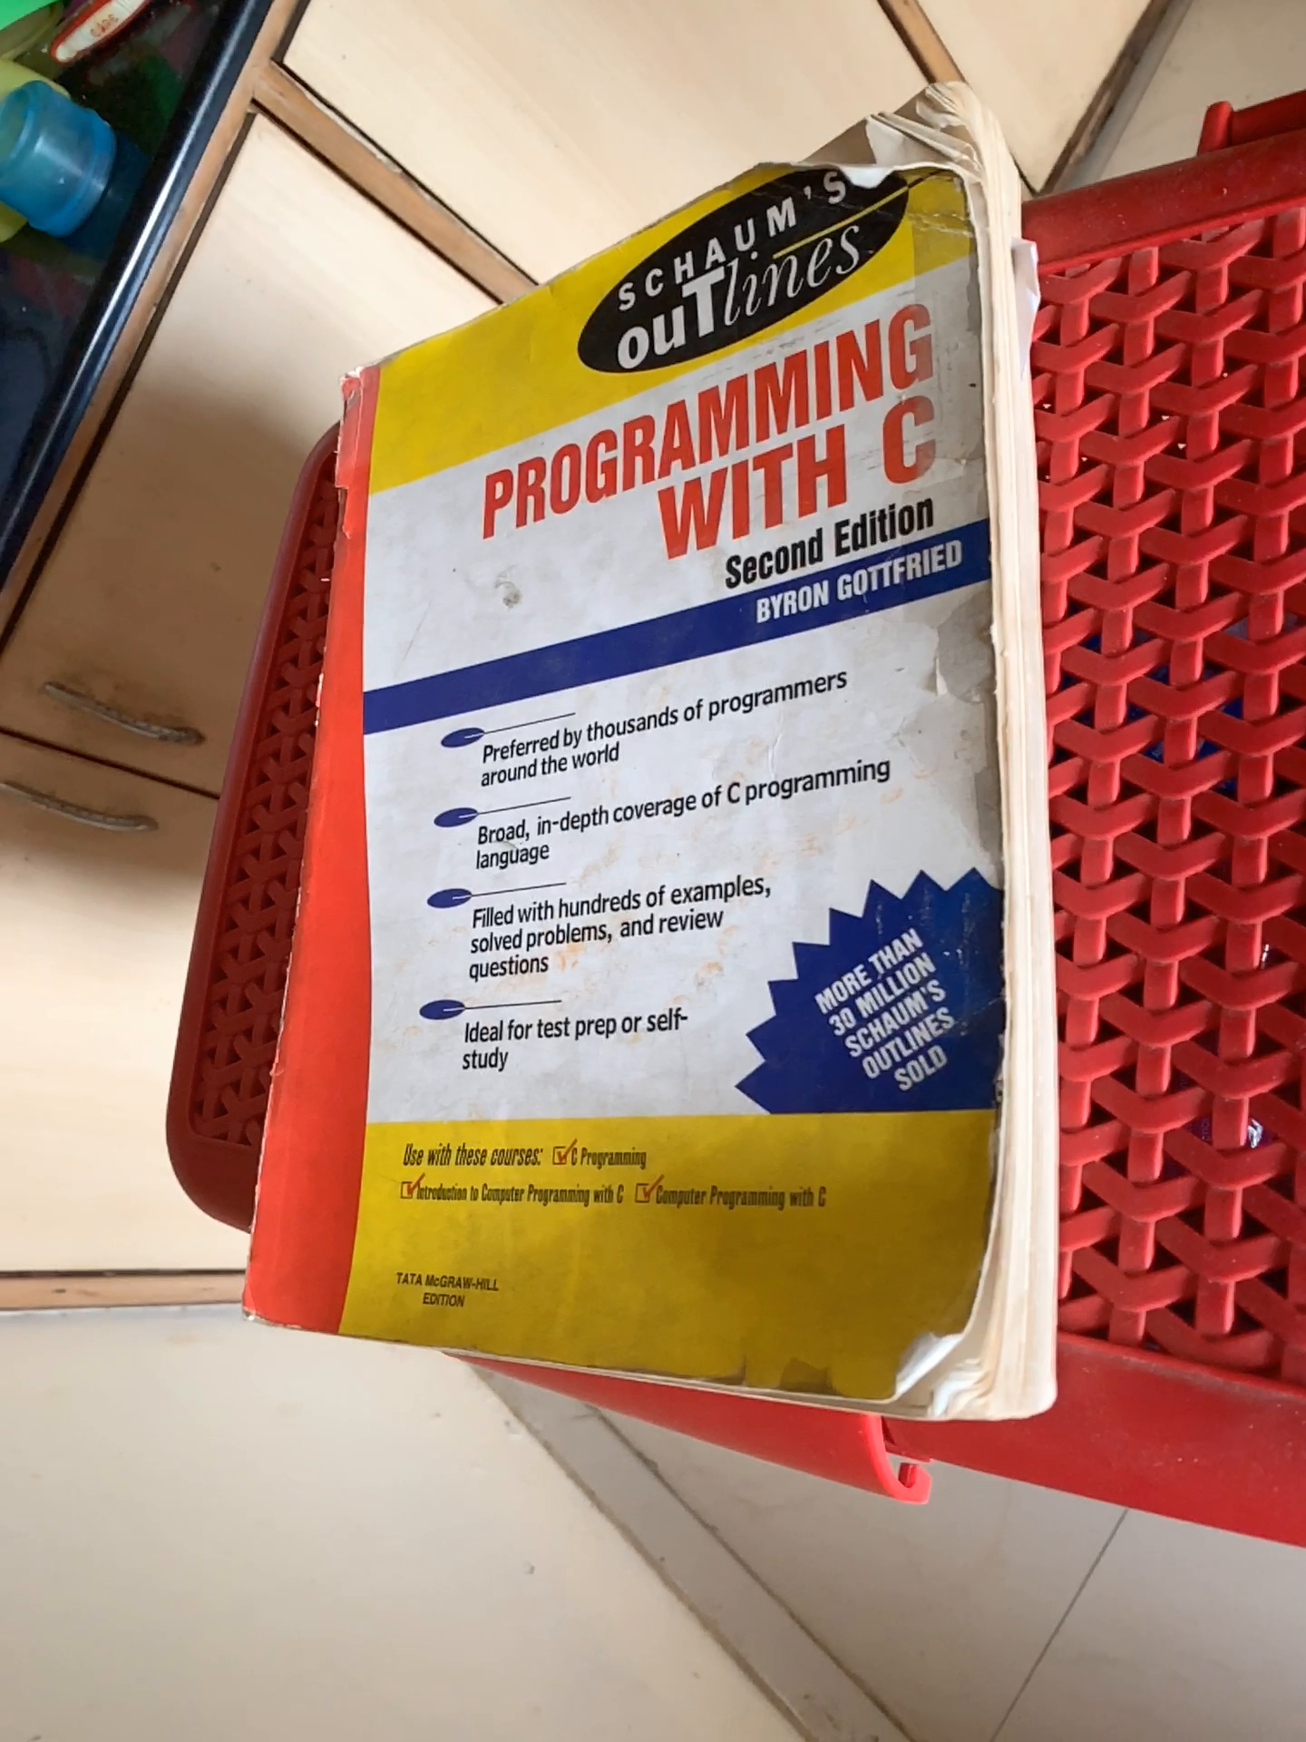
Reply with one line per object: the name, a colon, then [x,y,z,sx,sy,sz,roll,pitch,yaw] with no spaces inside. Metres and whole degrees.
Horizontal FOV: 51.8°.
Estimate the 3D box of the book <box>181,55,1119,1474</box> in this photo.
book: [-0.008,-0.018,0.304,0.201,0.050,0.250,-7,72,36]
